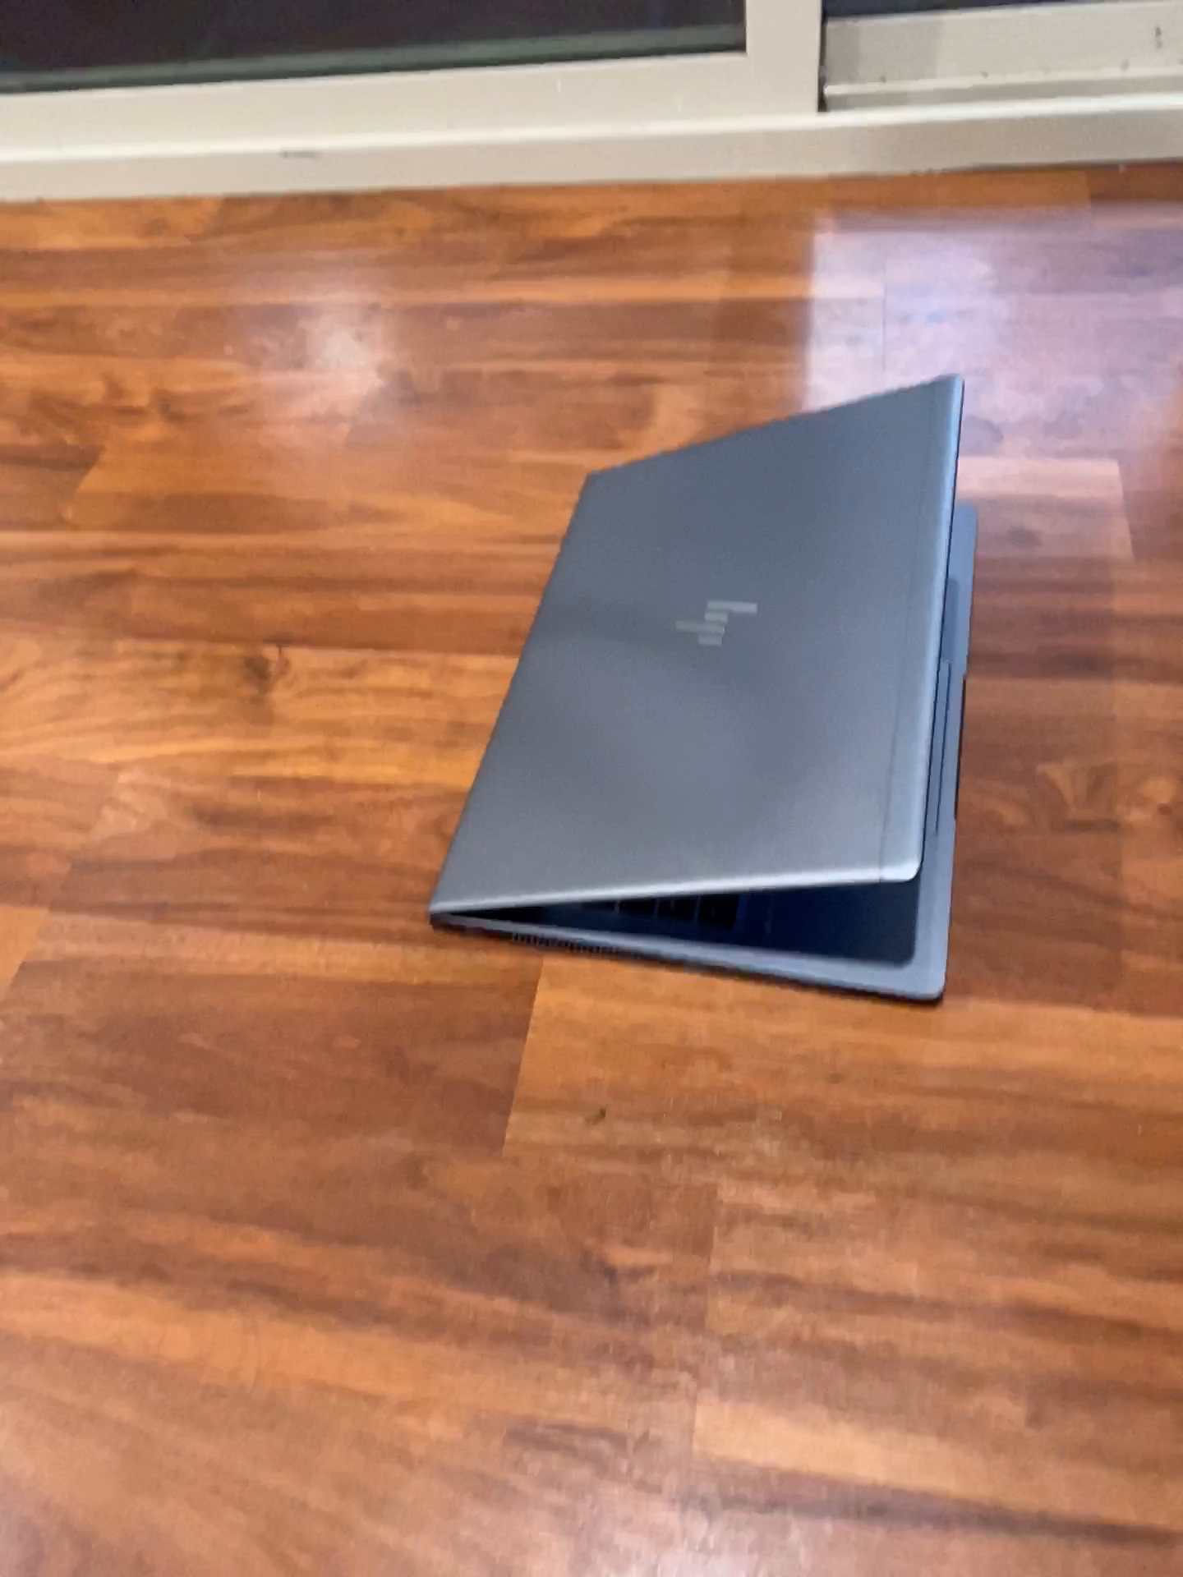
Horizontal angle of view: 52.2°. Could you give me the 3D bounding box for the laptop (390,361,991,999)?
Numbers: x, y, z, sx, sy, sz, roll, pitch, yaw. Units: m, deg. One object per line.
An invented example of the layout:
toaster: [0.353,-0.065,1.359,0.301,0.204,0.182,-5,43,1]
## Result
laptop: [0.068,-0.077,0.601,0.230,0.077,0.326,7,53,12]
